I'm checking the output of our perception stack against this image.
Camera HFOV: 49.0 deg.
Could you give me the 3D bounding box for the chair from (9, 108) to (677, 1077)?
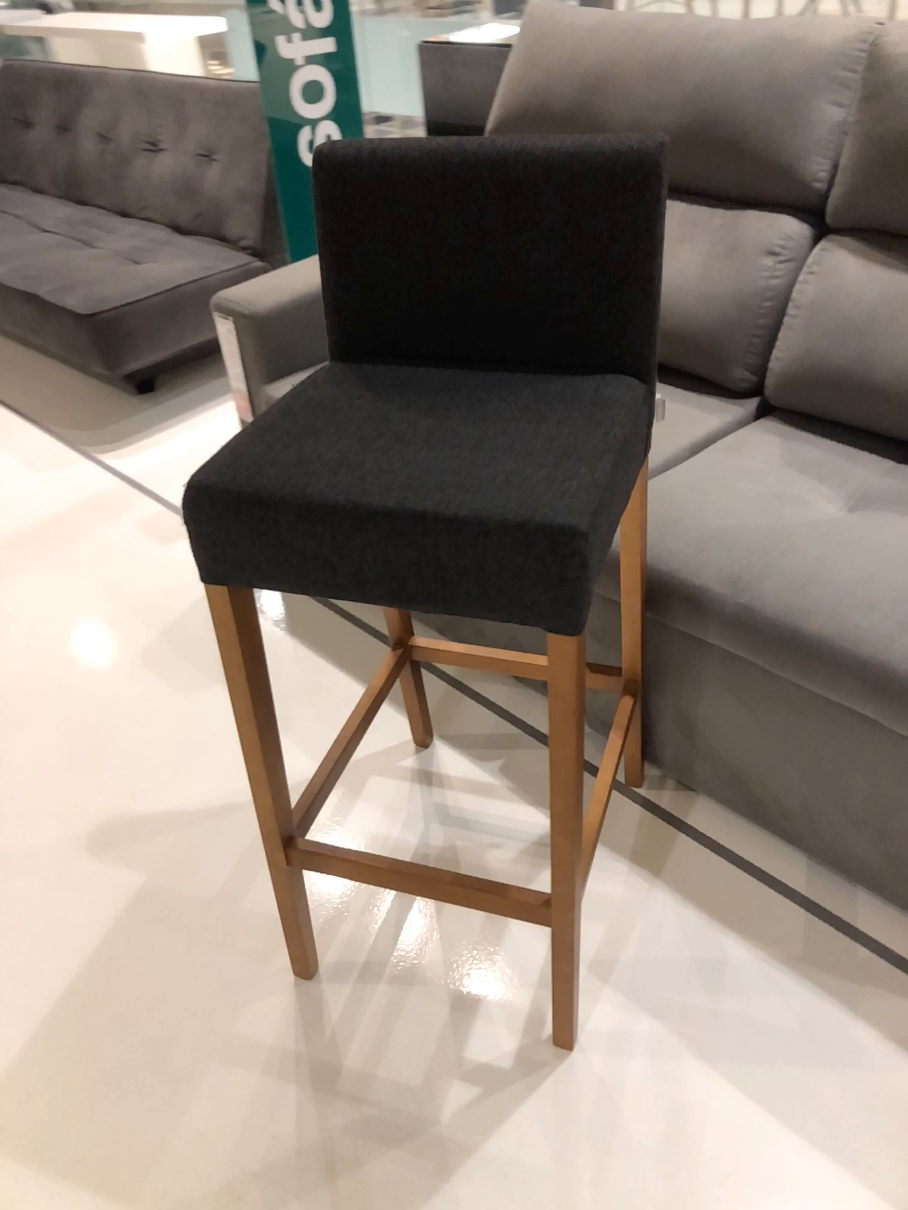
[{"bbox_3d":[-0.017,-0.021,1.233,0.450,0.972,0.584,7,36,18],"label":"chair"}]
